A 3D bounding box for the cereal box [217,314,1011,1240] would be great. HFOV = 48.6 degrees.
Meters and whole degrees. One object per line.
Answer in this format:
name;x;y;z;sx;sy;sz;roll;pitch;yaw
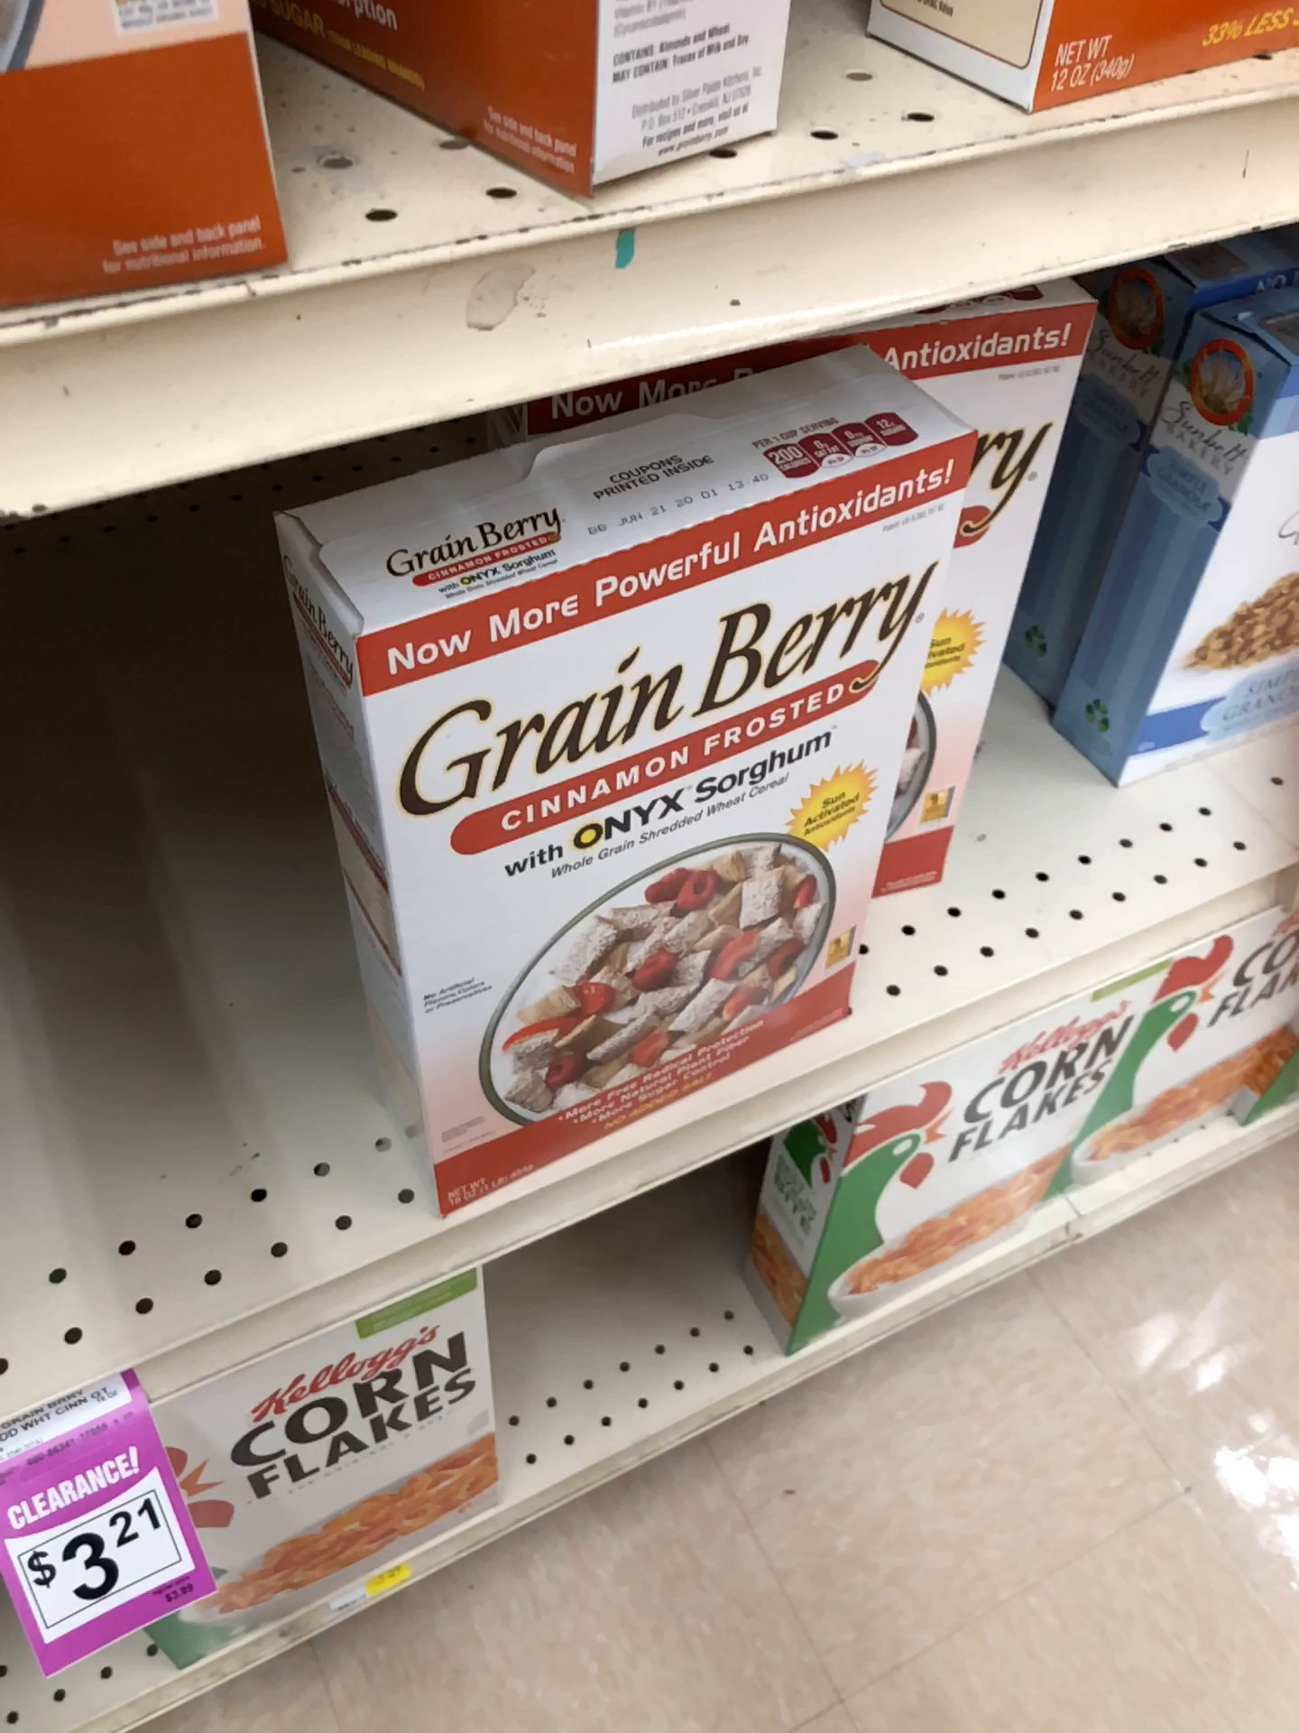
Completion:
cereal box;-0.011;-0.015;0.482;0.200;0.280;0.070;-23;54;-22
